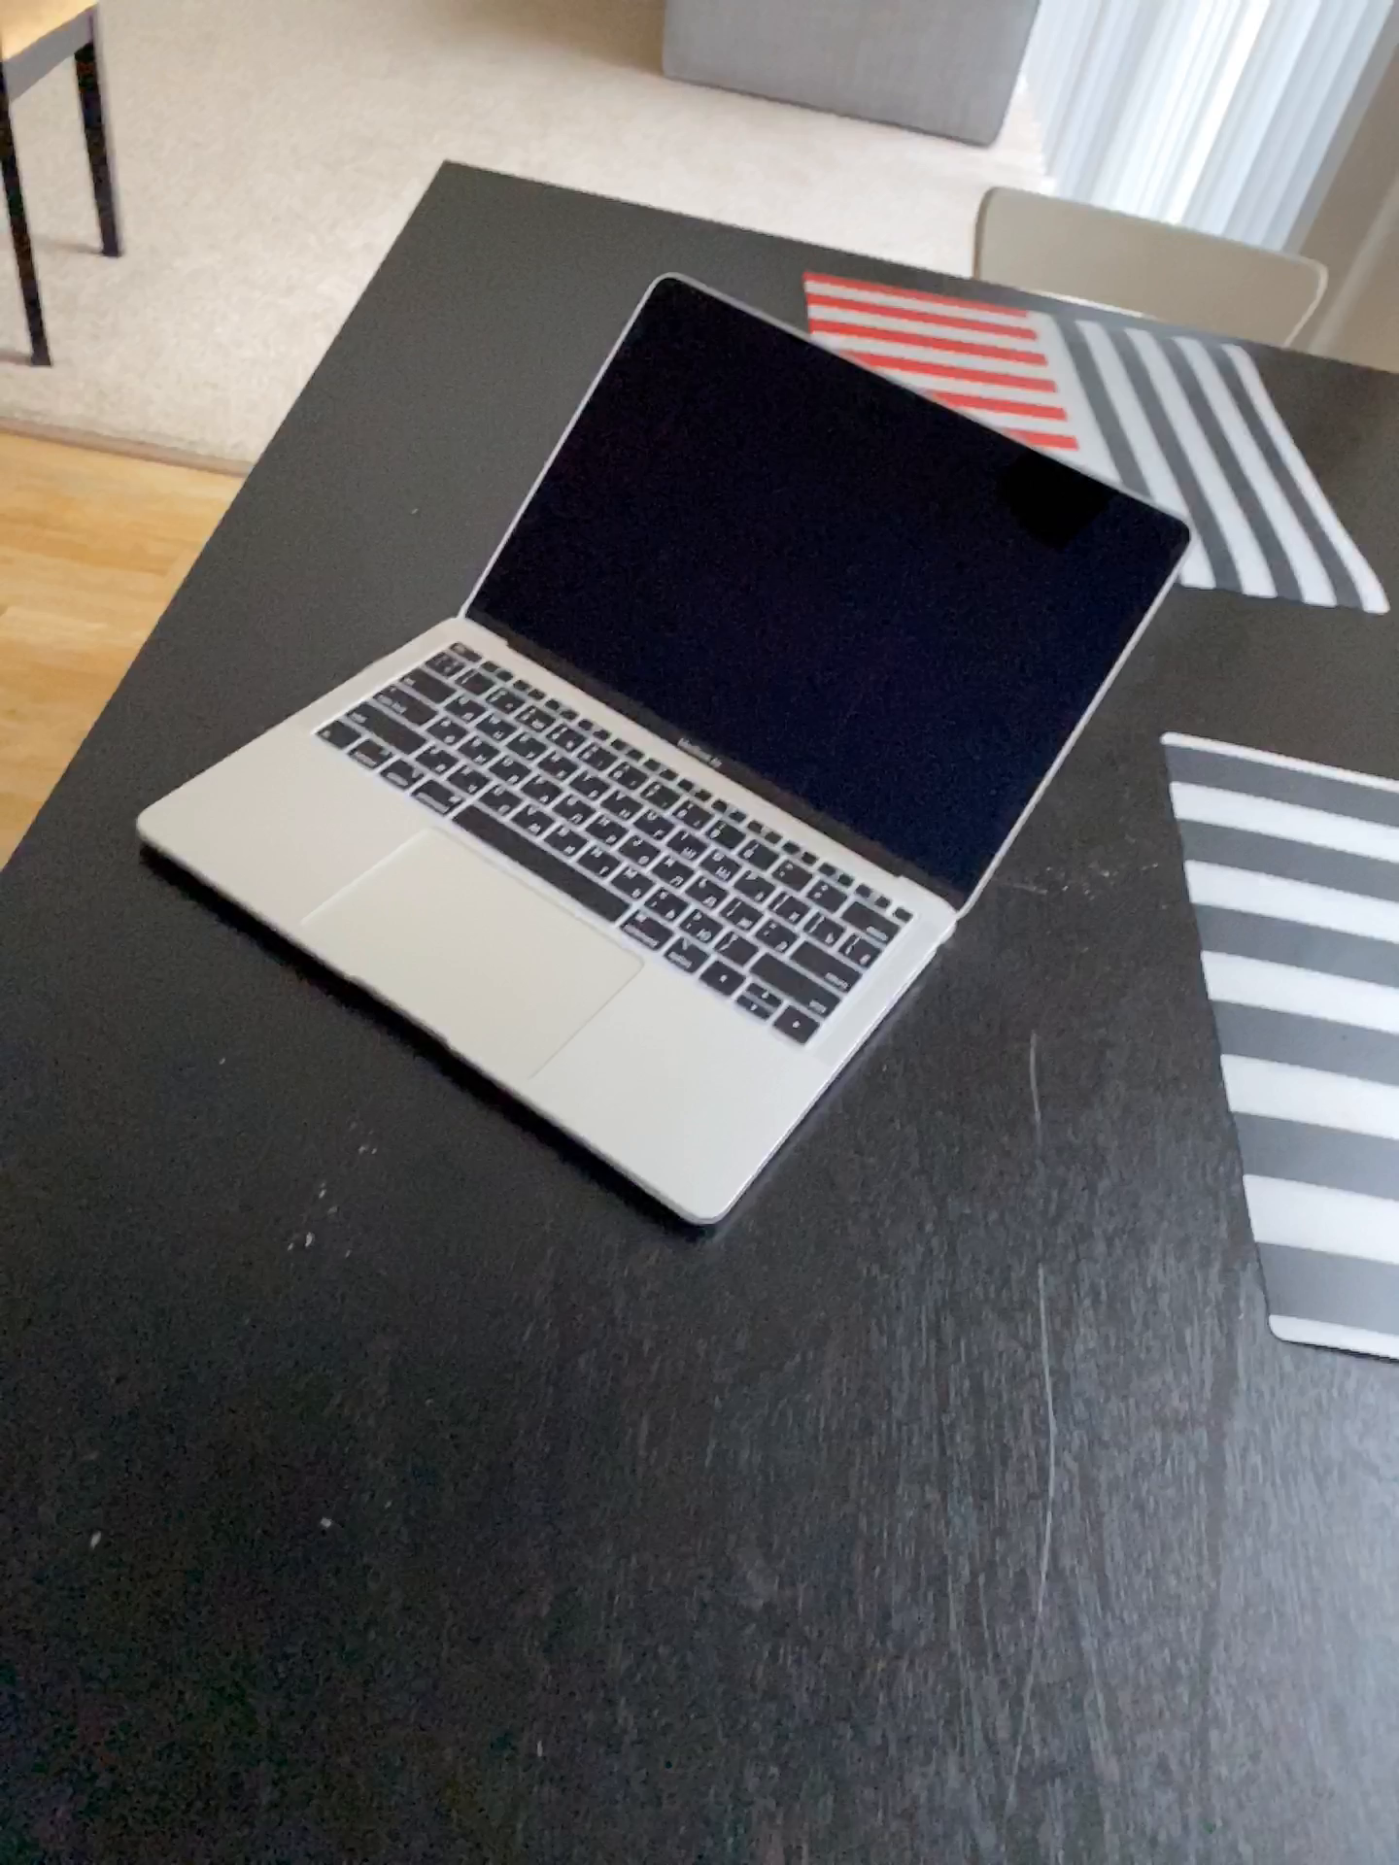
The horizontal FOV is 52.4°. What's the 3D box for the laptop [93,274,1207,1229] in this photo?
[{"bbox_3d":[-0.003,-0.114,0.620,0.297,0.139,0.362,32,49,16],"label":"laptop"}]
